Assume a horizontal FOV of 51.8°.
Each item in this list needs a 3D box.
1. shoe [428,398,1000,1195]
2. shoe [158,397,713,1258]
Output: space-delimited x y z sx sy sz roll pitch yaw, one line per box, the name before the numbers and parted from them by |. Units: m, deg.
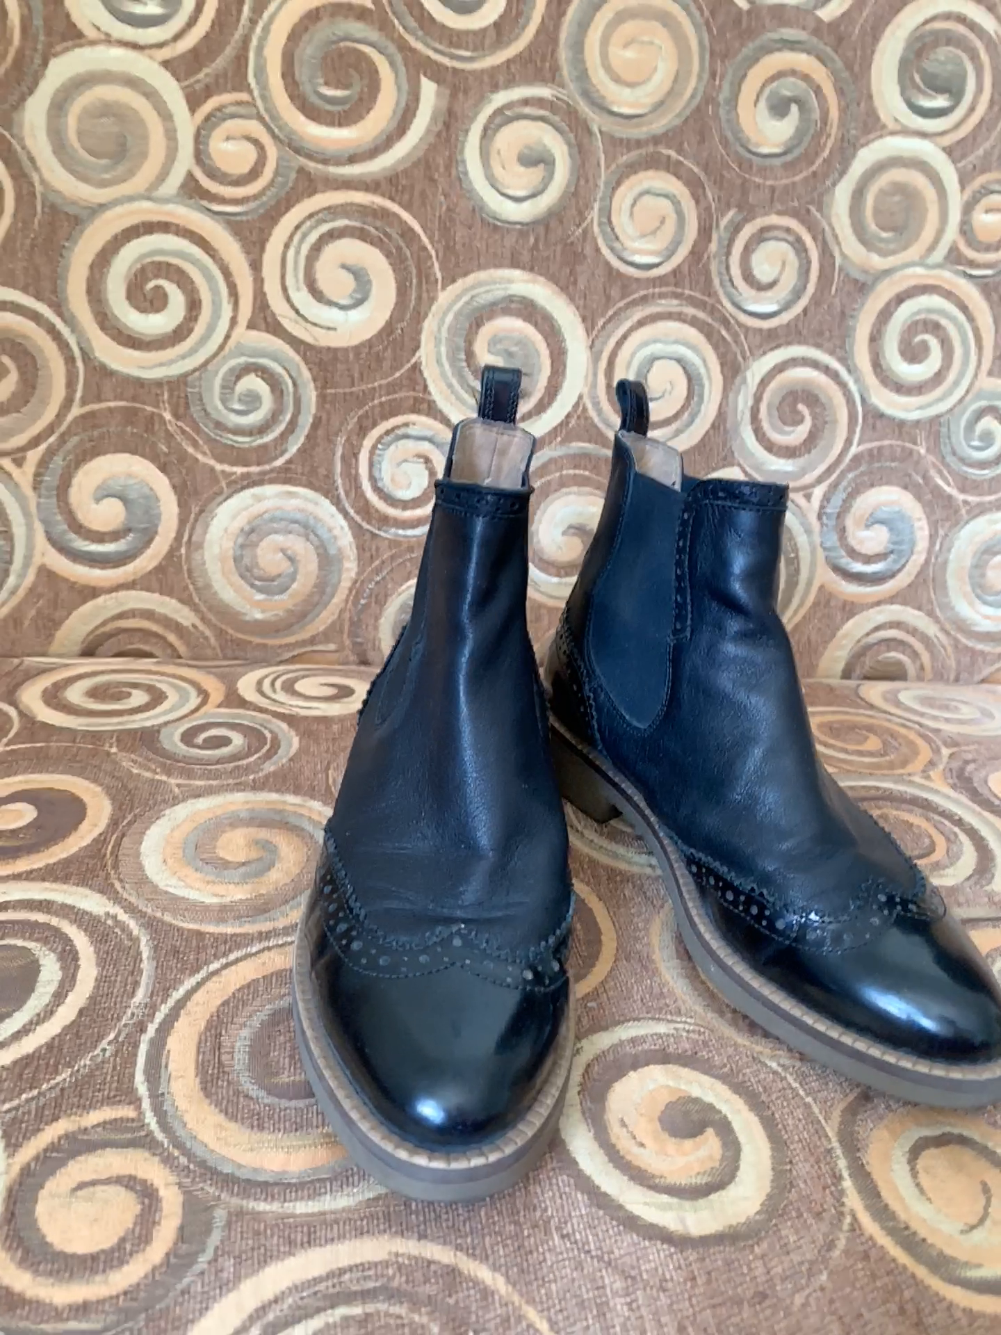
shoe | 0.079 0.008 0.382 0.100 0.139 0.291 -7 31 -25
shoe | -0.013 0.019 0.323 0.100 0.139 0.241 7 27 0
